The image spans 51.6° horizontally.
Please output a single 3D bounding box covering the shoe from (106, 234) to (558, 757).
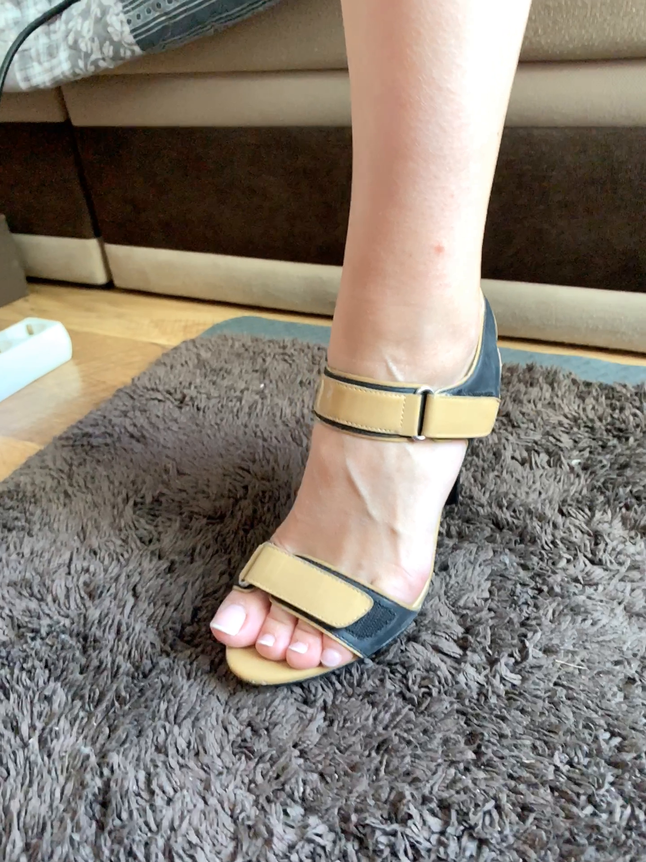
[{"bbox_3d":[0.022,0.013,0.327,0.090,0.149,0.201,20,41,33],"label":"shoe"}]
